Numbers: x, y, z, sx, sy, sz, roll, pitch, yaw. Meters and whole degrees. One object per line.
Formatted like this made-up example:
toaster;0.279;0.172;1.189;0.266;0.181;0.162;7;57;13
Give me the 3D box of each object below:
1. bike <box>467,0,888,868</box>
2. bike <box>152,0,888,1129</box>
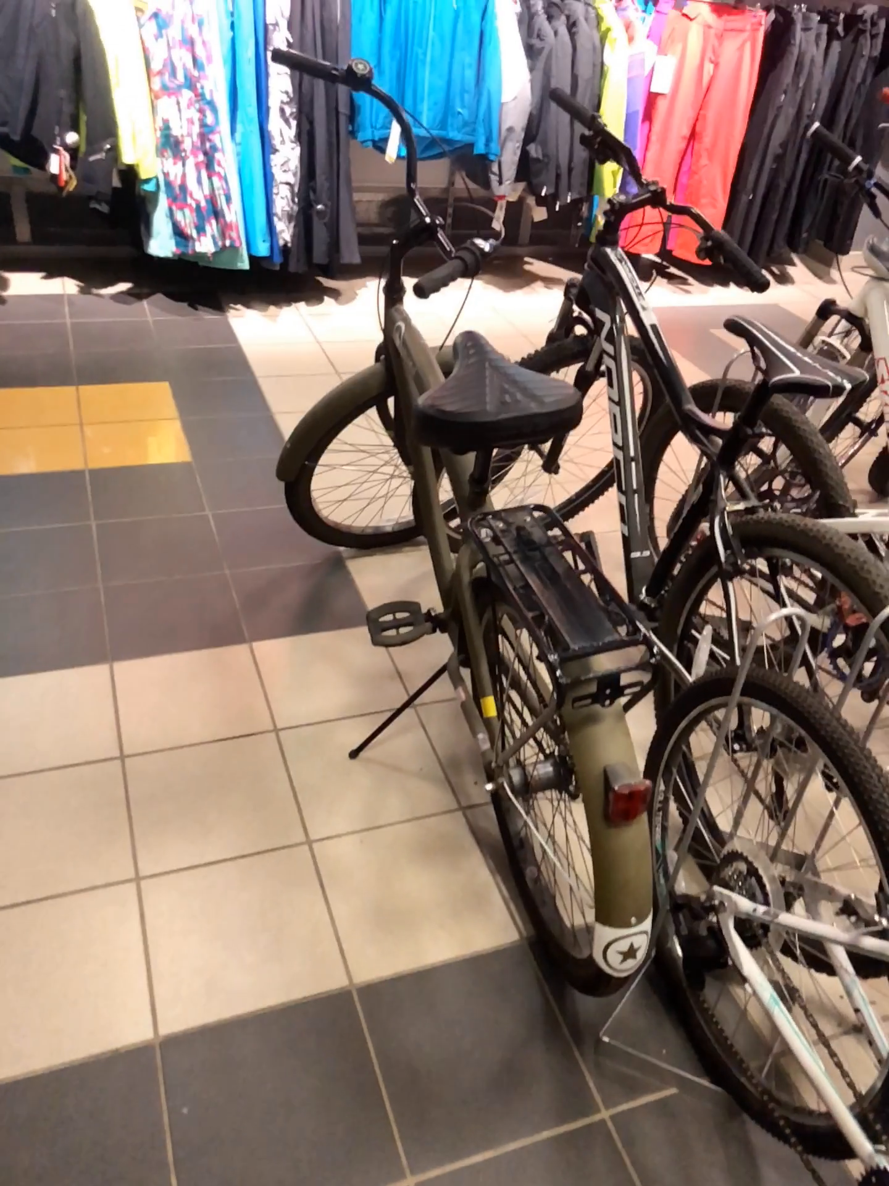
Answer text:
bike;0.458;-0.397;1.930;0.663;1.227;0.979;1;42;-10
bike;0.153;-0.238;1.657;0.831;1.130;1.504;3;38;-6
